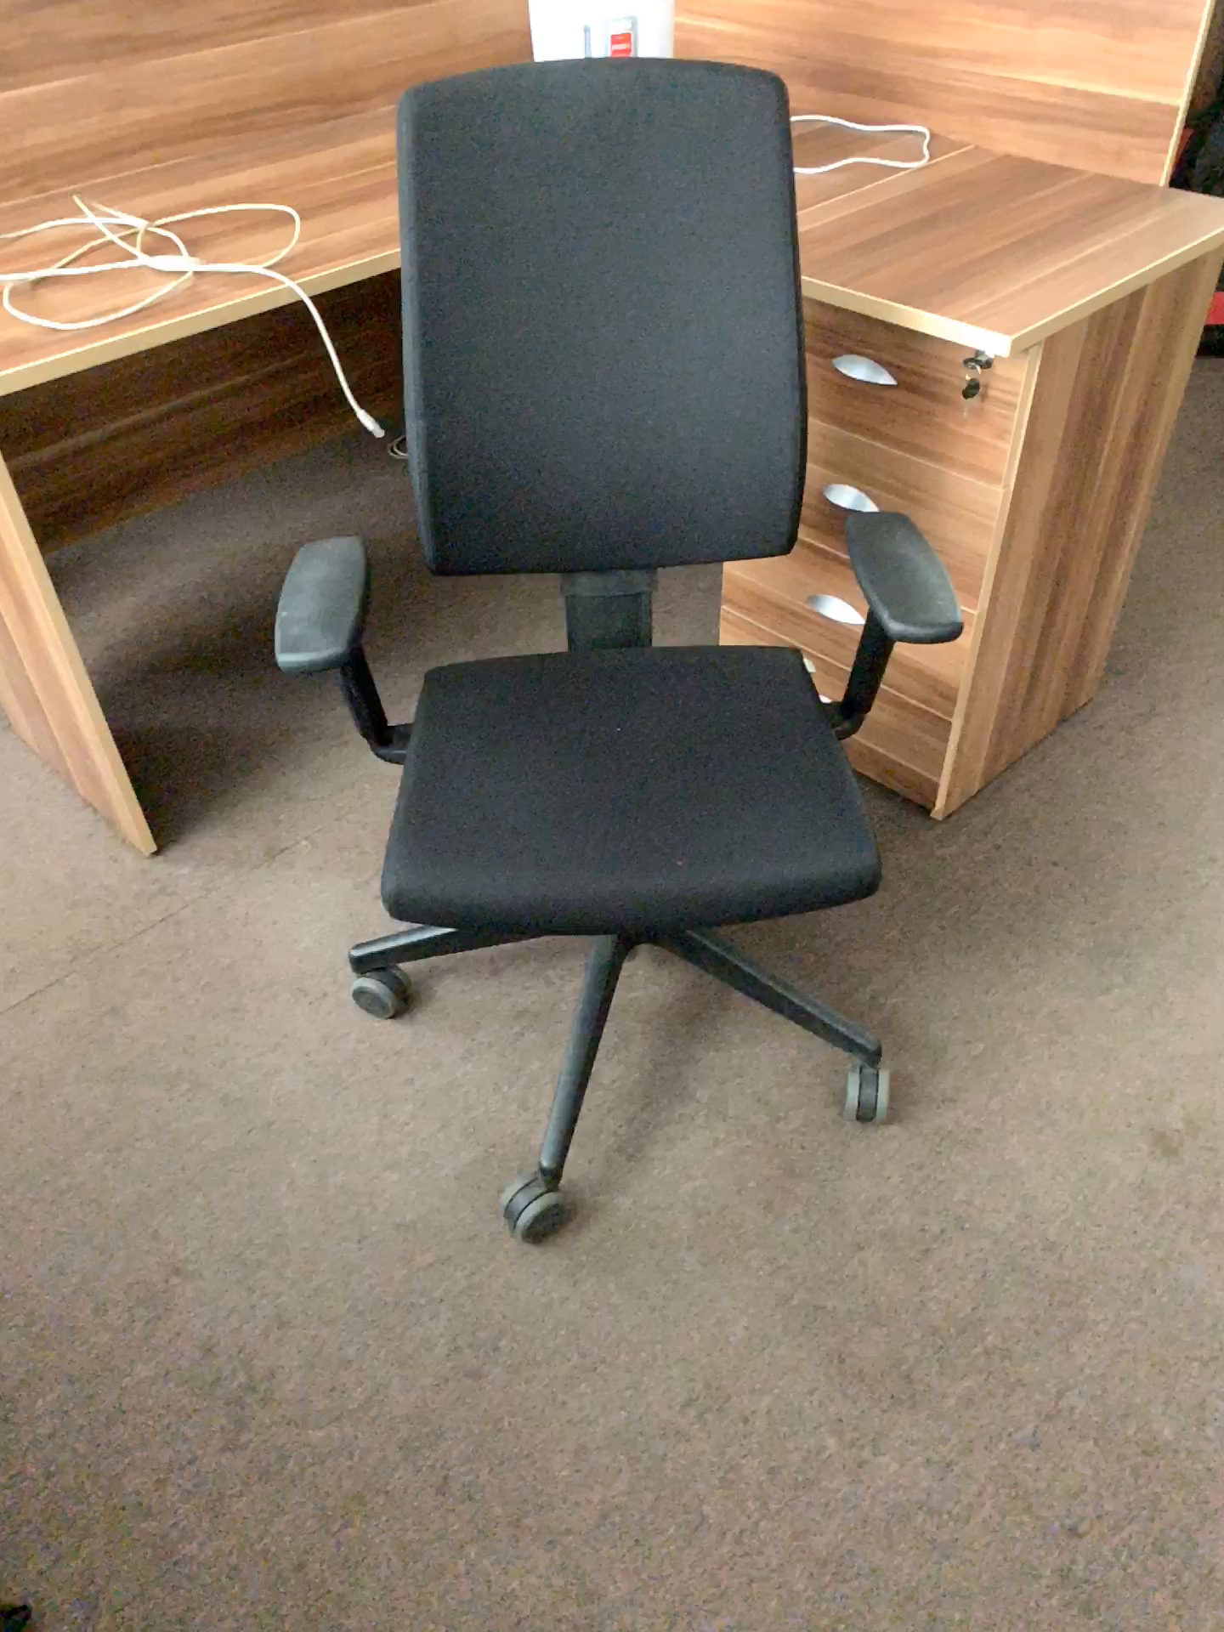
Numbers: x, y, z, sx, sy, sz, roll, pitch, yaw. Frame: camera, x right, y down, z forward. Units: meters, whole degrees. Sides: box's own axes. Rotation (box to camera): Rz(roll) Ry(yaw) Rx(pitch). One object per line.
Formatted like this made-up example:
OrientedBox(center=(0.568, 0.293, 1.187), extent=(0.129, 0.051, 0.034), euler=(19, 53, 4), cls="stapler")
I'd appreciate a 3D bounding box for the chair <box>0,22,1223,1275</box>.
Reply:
OrientedBox(center=(-0.017, -0.167, 1.241), extent=(0.670, 0.915, 0.794), euler=(-4, 42, -1), cls="chair")
